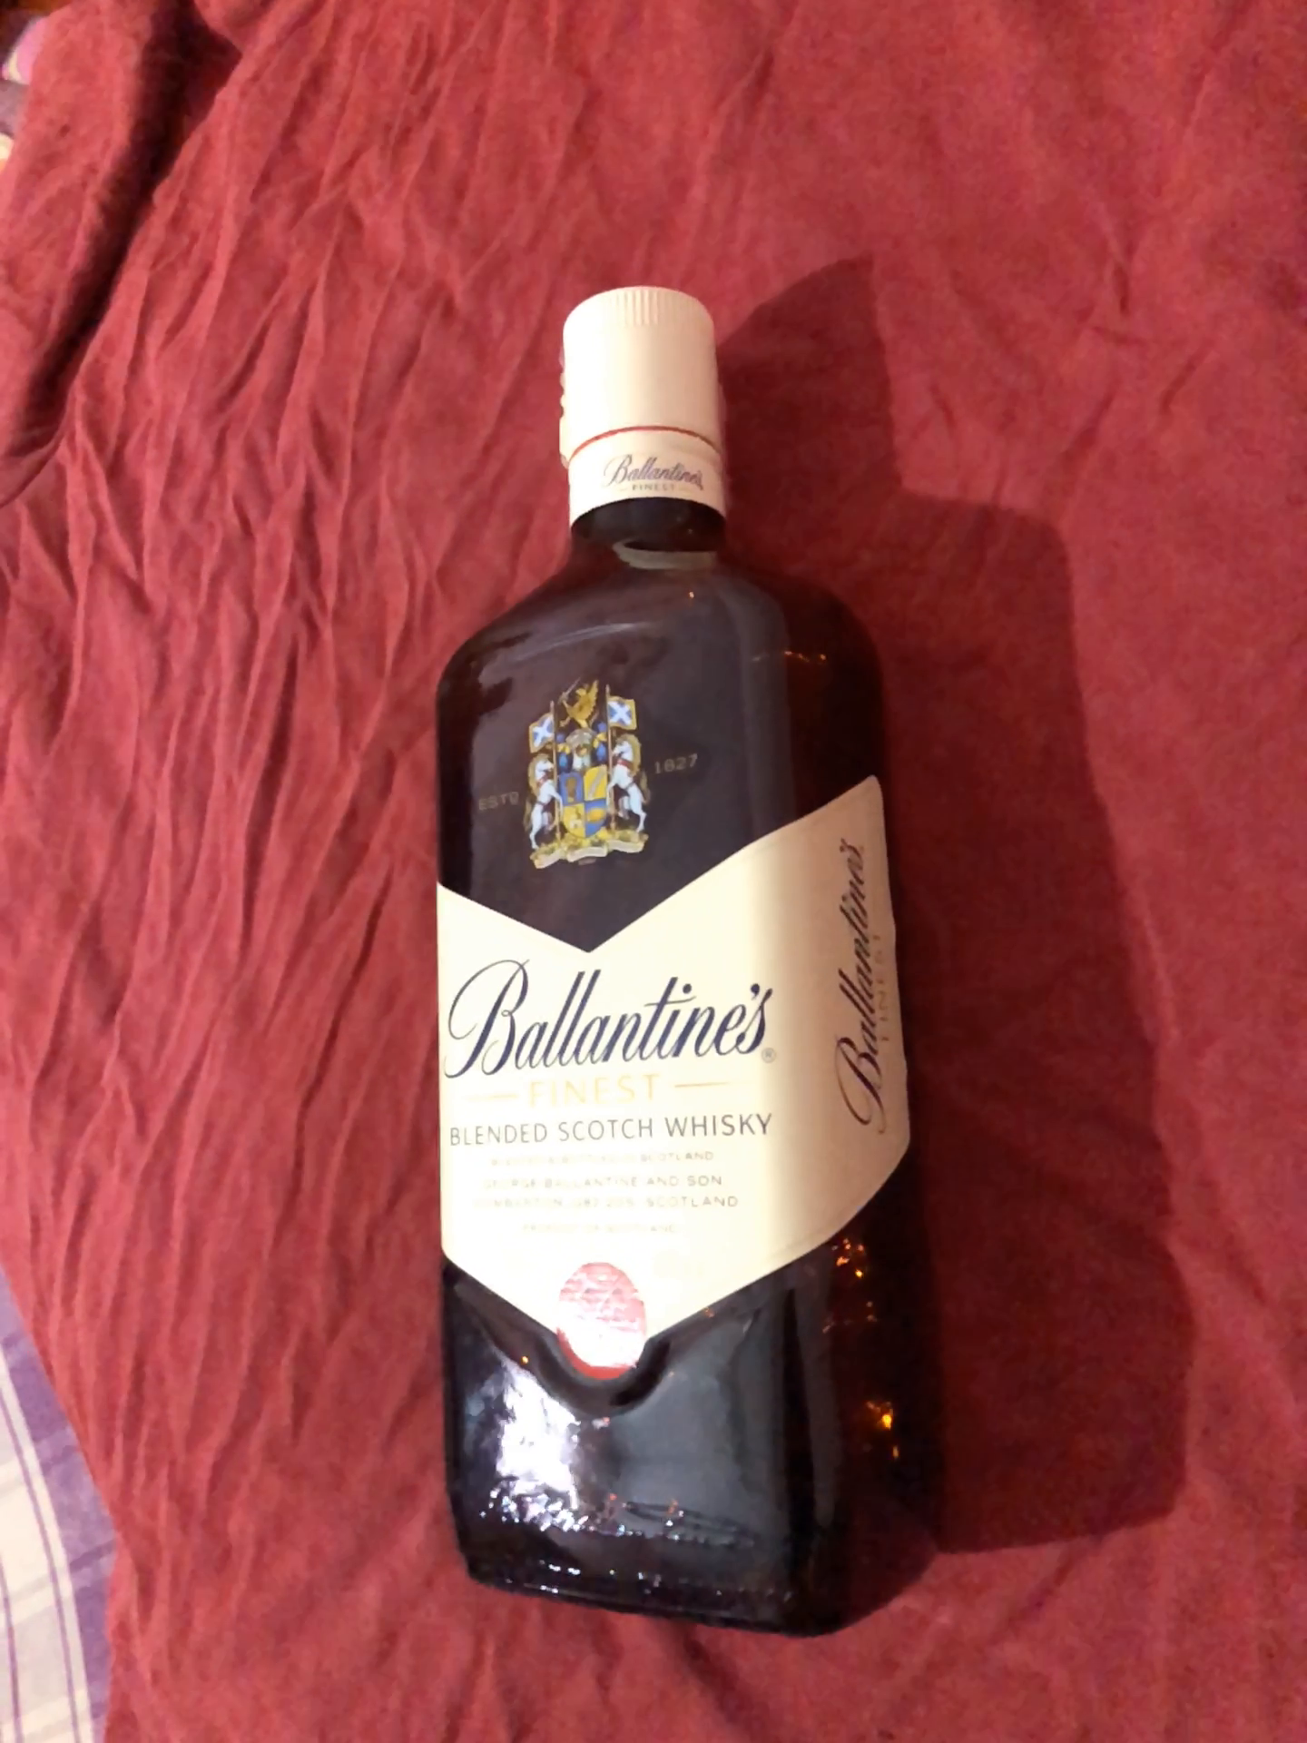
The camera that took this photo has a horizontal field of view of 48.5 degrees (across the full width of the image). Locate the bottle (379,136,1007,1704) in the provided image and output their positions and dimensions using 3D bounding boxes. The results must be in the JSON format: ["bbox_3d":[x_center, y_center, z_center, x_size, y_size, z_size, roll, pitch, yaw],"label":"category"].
[{"bbox_3d":[0.003,0.006,0.273,0.090,0.050,0.250,-8,80,29],"label":"bottle"}]
